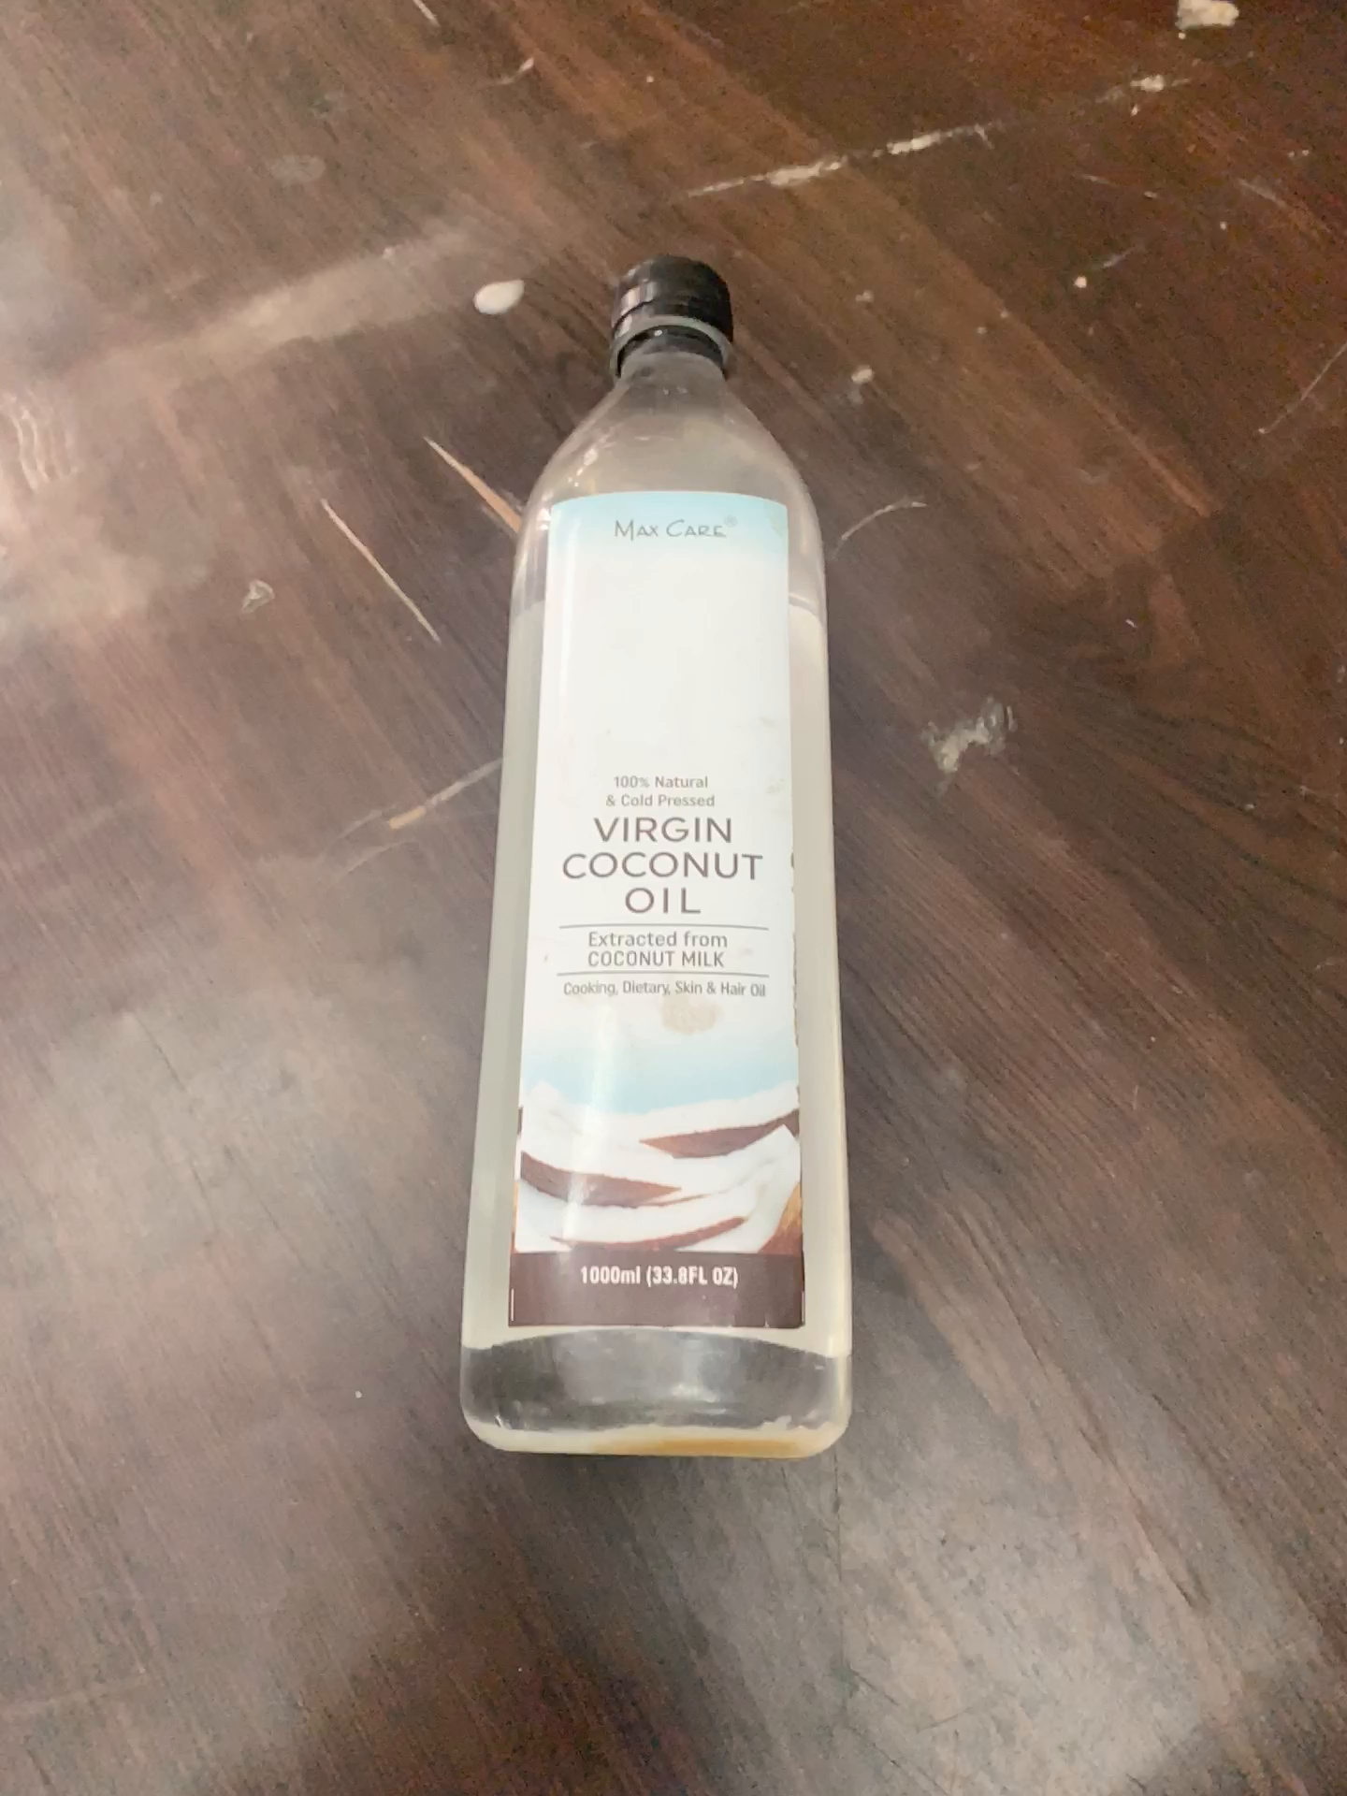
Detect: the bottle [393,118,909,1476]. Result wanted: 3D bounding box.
[{"bbox_3d":[-0.002,-0.033,0.302,0.080,0.070,0.290,1,68,0],"label":"bottle"}]
